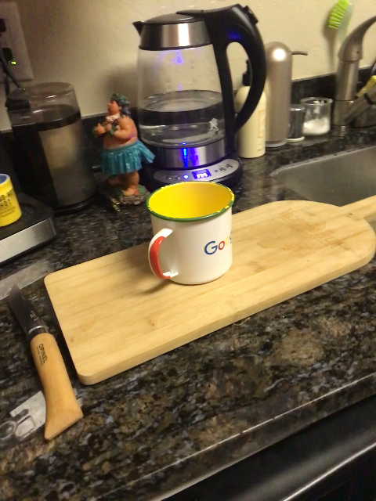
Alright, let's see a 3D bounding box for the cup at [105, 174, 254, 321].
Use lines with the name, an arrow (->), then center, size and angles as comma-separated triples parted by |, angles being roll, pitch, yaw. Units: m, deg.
cup -> -0.003, -0.011, 0.455 | 0.100, 0.089, 0.131 | 18, 39, 32
